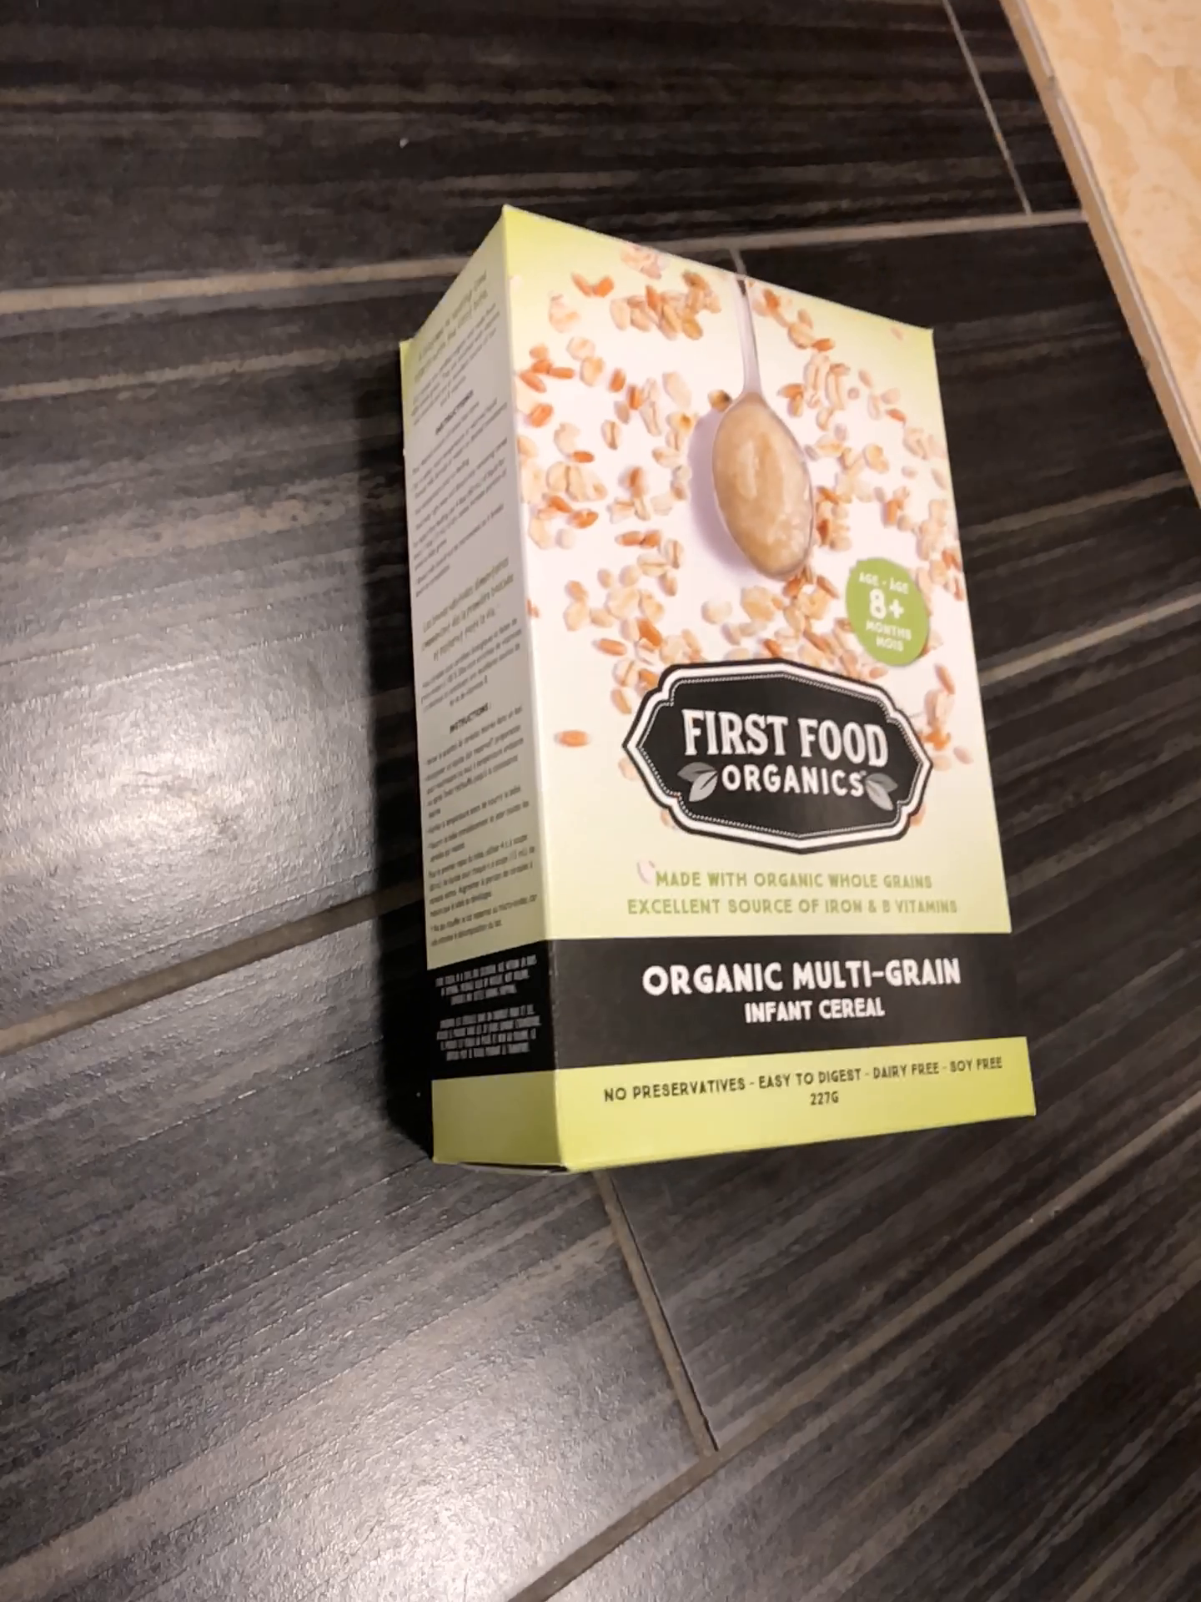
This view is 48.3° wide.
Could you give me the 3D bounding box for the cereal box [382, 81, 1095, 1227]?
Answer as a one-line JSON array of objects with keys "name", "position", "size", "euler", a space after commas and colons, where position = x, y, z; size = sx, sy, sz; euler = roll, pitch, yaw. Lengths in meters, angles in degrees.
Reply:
[{"name": "cereal box", "position": [0.028, -0.028, 0.315], "size": [0.141, 0.060, 0.230], "euler": [4, 75, -30]}]
